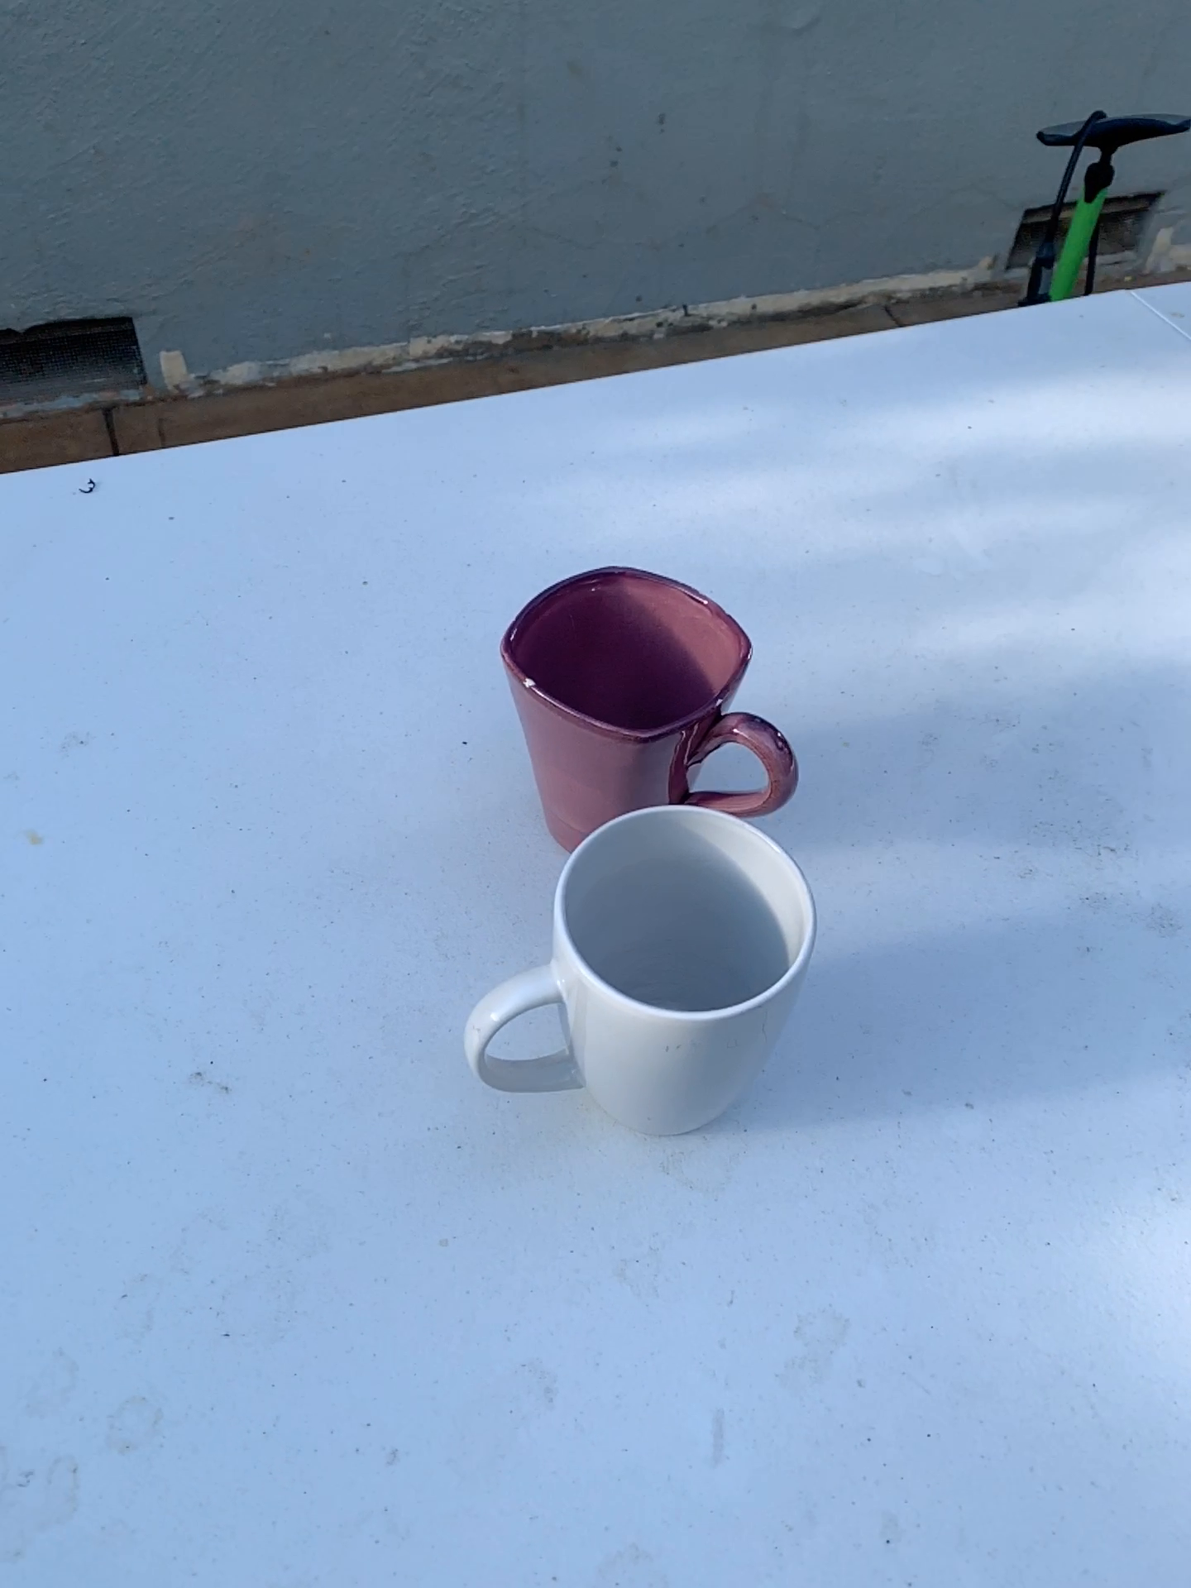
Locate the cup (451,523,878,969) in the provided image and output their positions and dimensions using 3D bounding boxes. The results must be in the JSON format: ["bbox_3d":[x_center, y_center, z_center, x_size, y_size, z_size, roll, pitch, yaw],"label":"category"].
[{"bbox_3d":[0.028,-0.025,0.548,0.140,0.109,0.110,28,52,21],"label":"cup"}]

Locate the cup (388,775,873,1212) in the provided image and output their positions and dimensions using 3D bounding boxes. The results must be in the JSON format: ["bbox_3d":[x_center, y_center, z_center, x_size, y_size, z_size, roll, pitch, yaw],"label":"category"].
[{"bbox_3d":[0.009,0.075,0.471,0.150,0.099,0.090,-13,49,-15],"label":"cup"}]
